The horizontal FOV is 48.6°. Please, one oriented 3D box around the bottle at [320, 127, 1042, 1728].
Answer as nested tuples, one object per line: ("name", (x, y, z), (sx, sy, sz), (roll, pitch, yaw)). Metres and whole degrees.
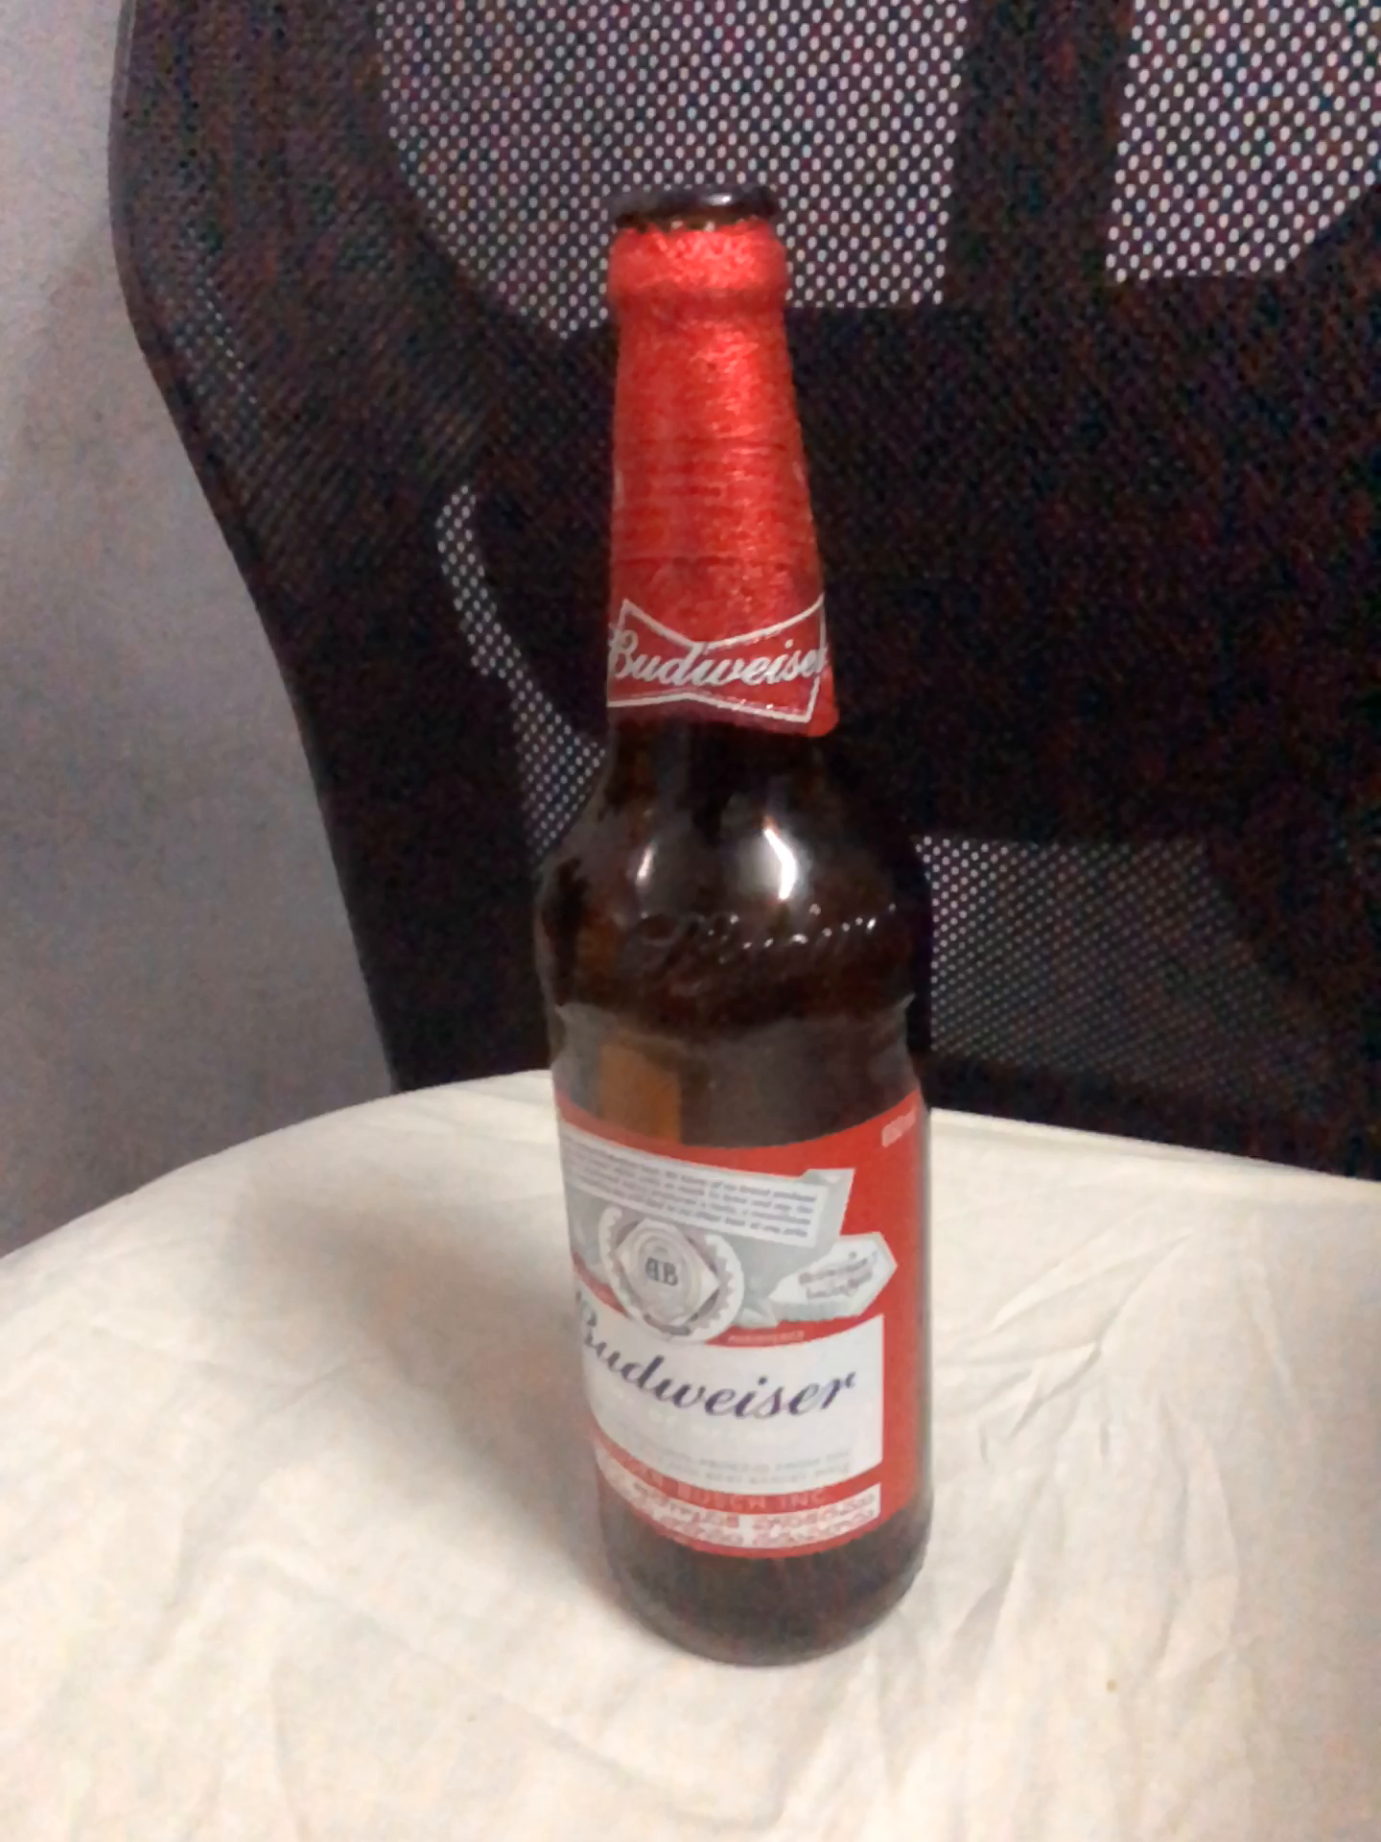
("bottle", (0.008, 0.013, 0.270), (0.080, 0.269, 0.070), (7, 29, 18))
